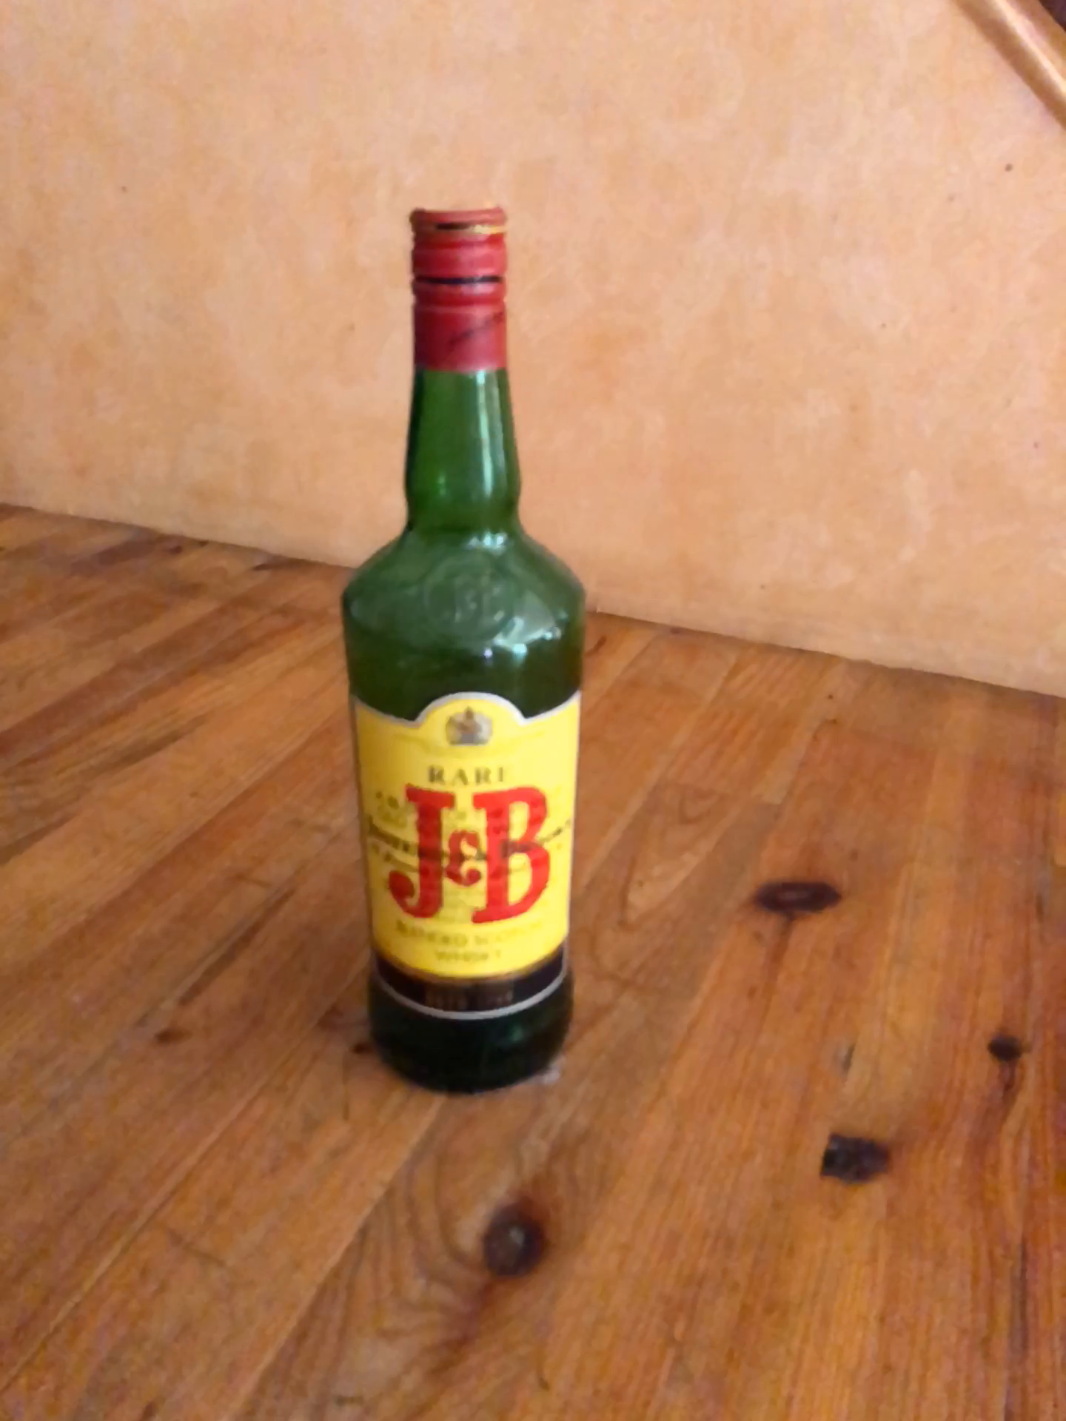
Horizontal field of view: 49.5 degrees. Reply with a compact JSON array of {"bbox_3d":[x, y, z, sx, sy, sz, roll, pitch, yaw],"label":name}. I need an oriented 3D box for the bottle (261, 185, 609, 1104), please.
[{"bbox_3d":[-0.026,-0.008,0.408,0.090,0.318,0.080,0,28,0],"label":"bottle"}]
